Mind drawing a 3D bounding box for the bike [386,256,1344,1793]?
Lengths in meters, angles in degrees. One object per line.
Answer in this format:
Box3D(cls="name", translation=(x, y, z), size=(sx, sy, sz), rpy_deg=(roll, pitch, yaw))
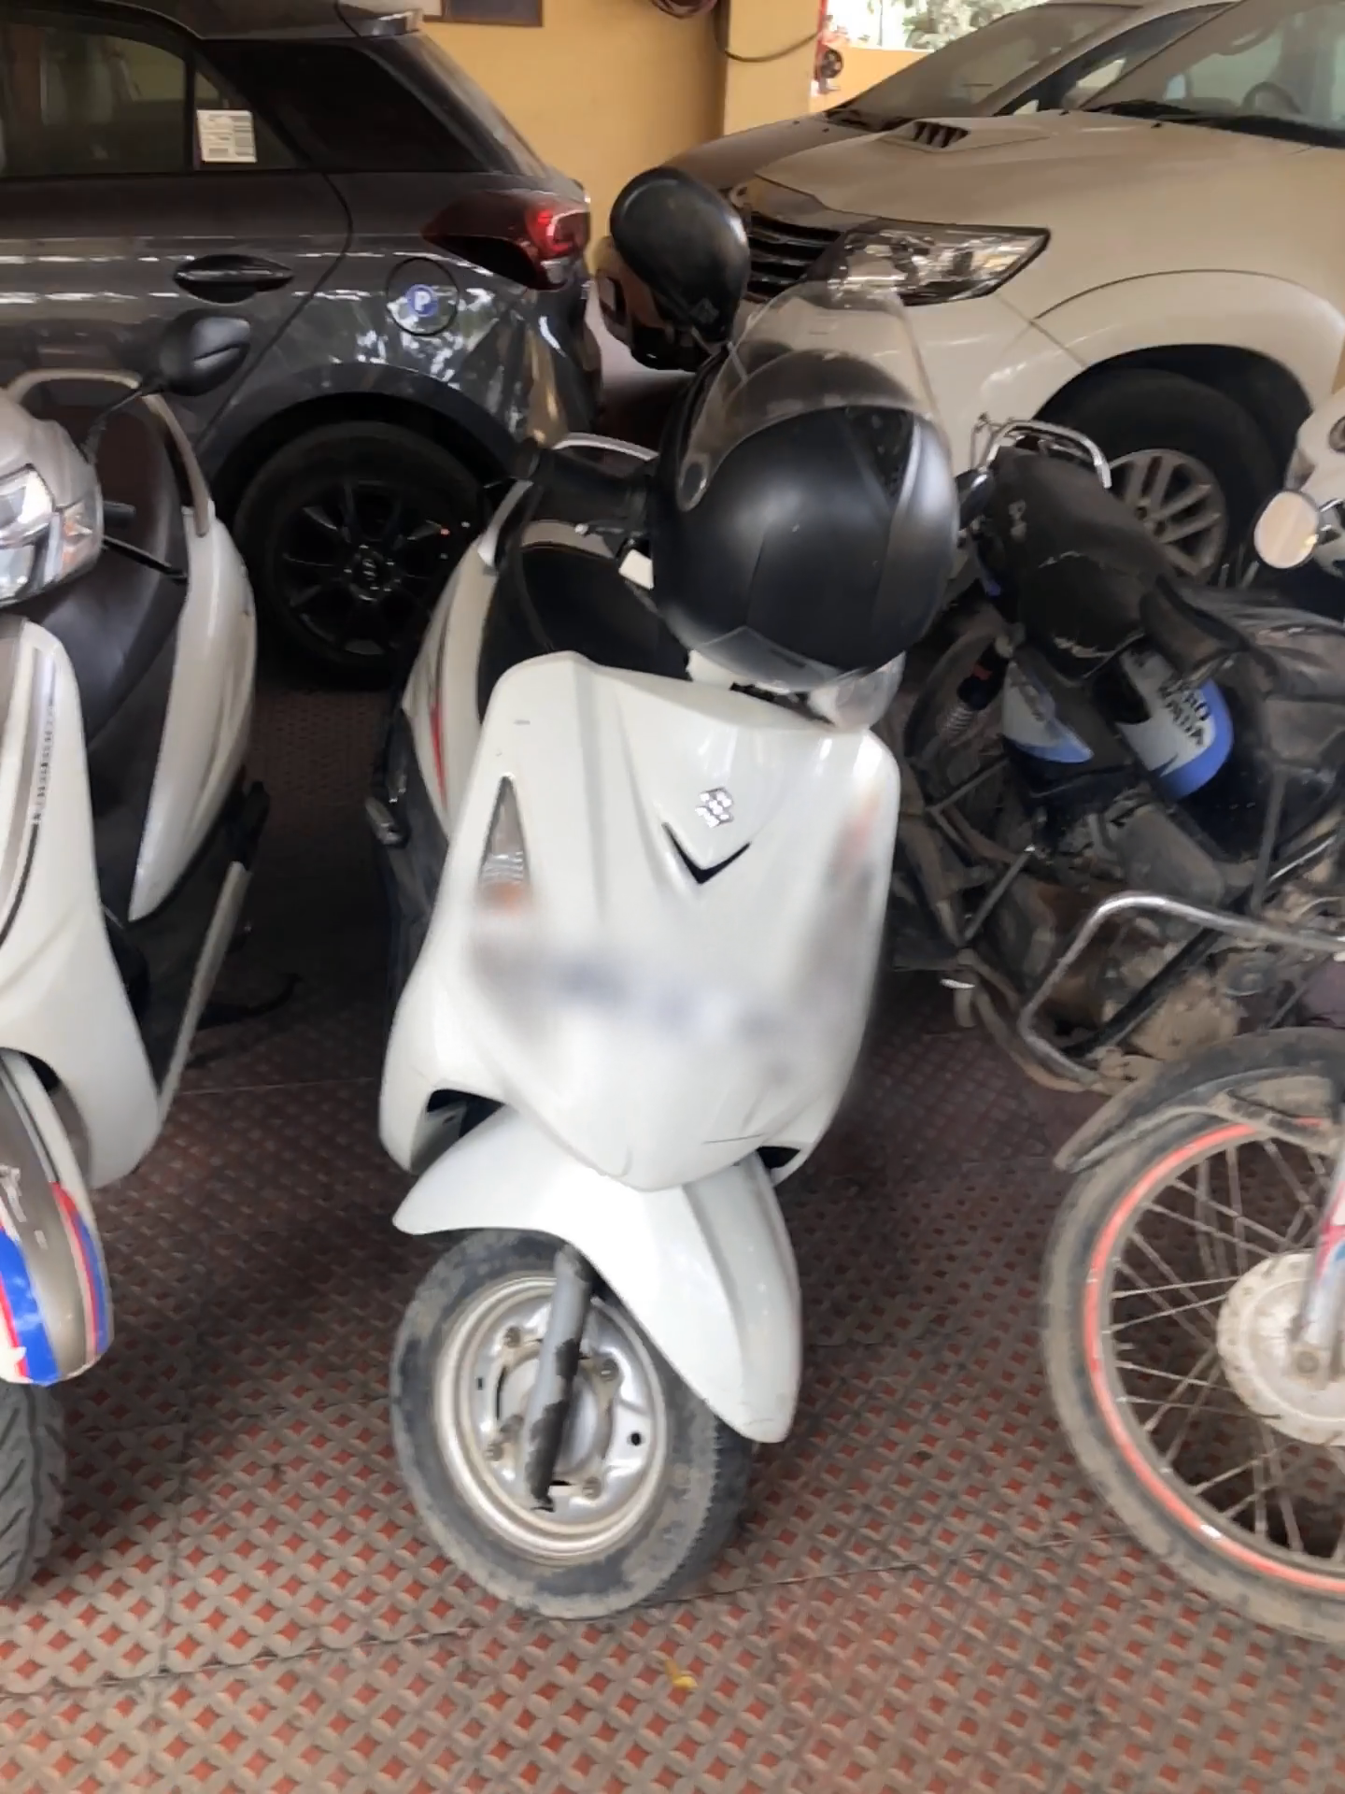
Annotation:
Box3D(cls="bike", translation=(0.155, -0.027, 1.905), size=(0.832, 0.940, 1.516), rpy_deg=(-5, 40, -14))
